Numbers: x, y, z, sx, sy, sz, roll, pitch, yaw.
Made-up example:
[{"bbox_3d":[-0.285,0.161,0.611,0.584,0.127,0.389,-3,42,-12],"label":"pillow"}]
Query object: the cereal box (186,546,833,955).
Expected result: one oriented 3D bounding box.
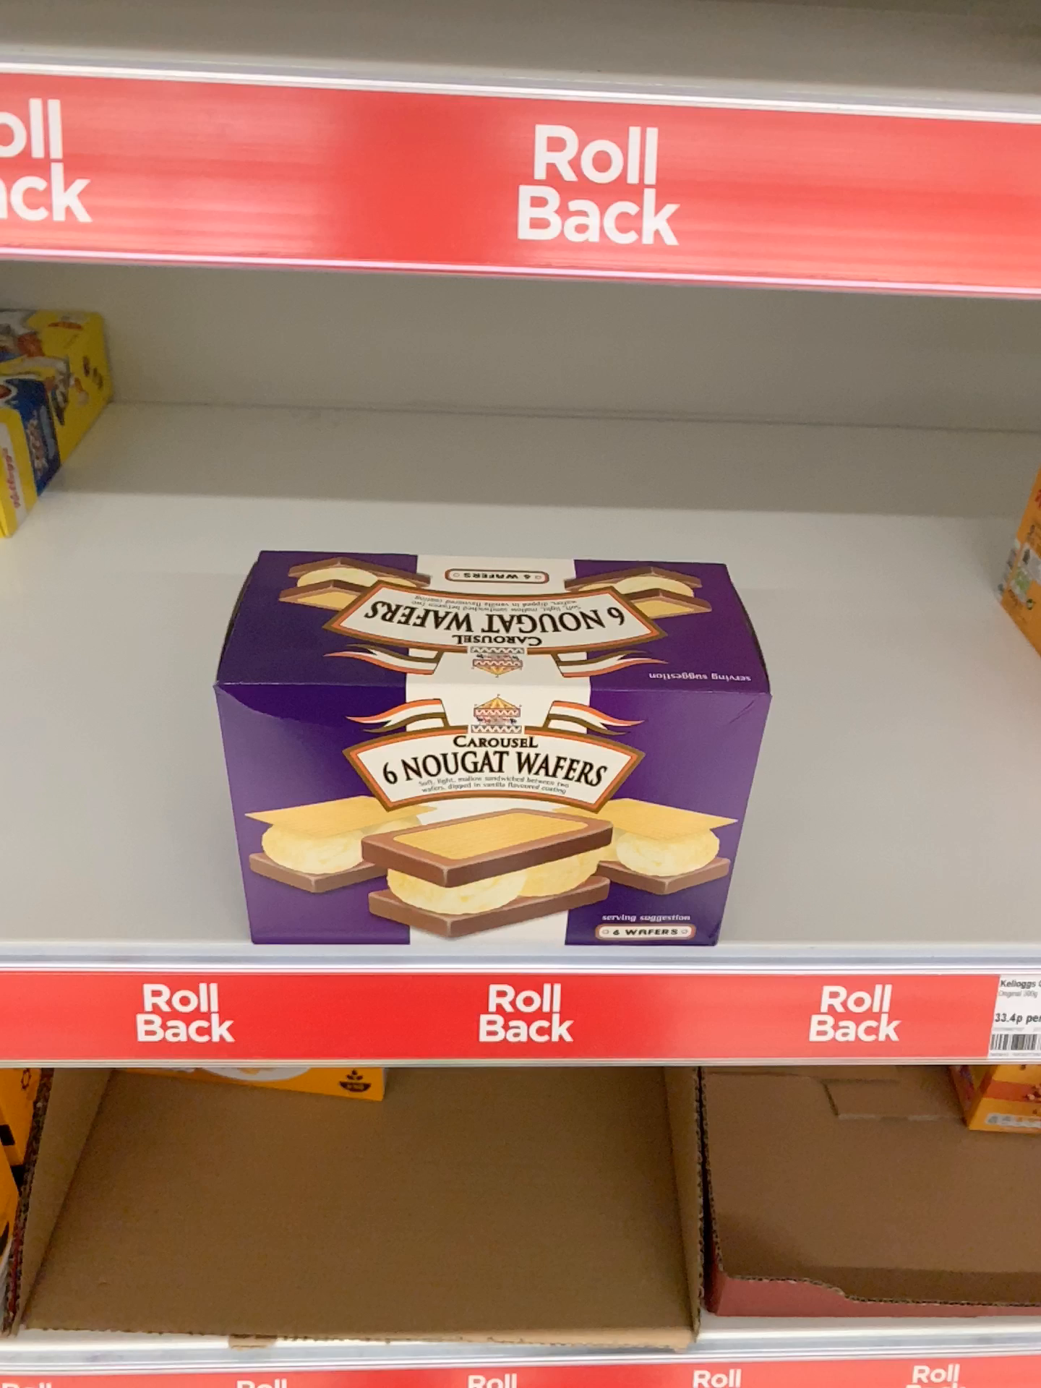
[{"bbox_3d":[-0.006,0.020,0.383,0.190,0.109,0.091,1,36,-3],"label":"cereal box"}]
